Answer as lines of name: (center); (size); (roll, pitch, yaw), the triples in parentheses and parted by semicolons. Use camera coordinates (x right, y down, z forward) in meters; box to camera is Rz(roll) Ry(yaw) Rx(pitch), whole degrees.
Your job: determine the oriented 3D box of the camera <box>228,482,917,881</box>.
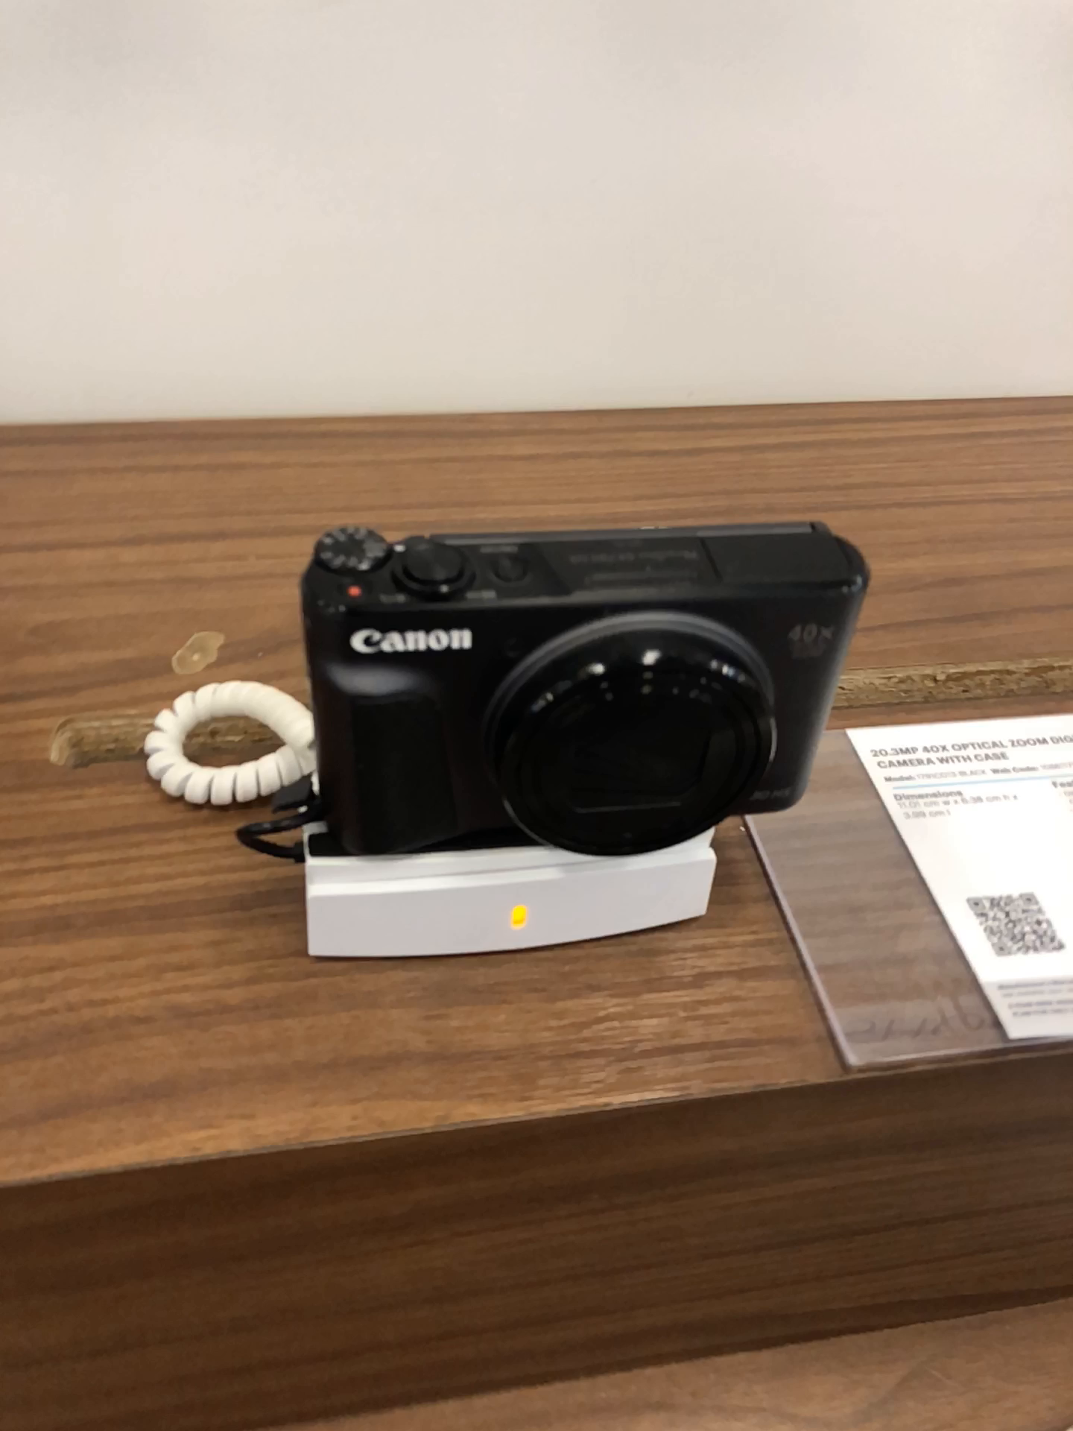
camera: (0.004, -0.006, 0.237); (0.120, 0.070, 0.030); (-3, 41, -9)
